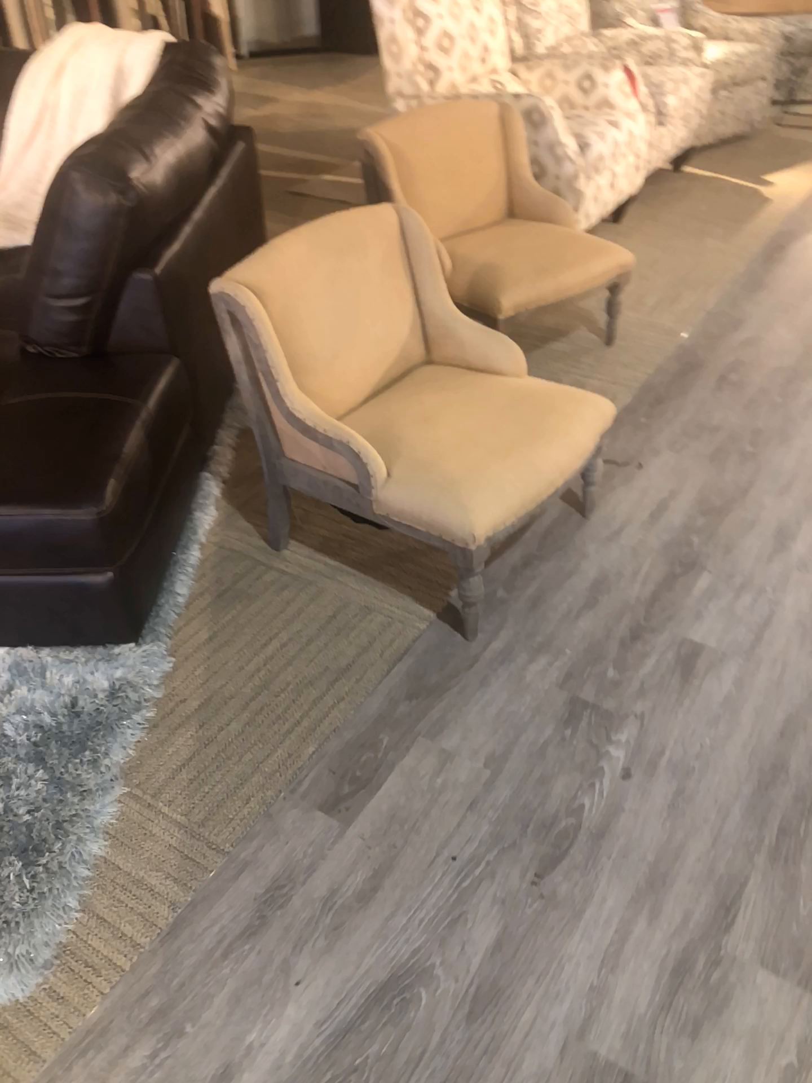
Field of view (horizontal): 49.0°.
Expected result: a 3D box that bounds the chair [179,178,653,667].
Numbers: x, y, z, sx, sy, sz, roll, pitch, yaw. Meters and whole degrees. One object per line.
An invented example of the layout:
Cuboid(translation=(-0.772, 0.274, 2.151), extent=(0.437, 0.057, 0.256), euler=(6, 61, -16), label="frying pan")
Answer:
Cuboid(translation=(0.040, -0.299, 1.920), extent=(0.669, 0.685, 0.639), euler=(22, 43, 27), label="chair")

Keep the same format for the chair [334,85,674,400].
Cuboid(translation=(0.270, -0.939, 2.695), extent=(0.629, 0.625, 0.720), euler=(-29, 45, -31), label="chair")
